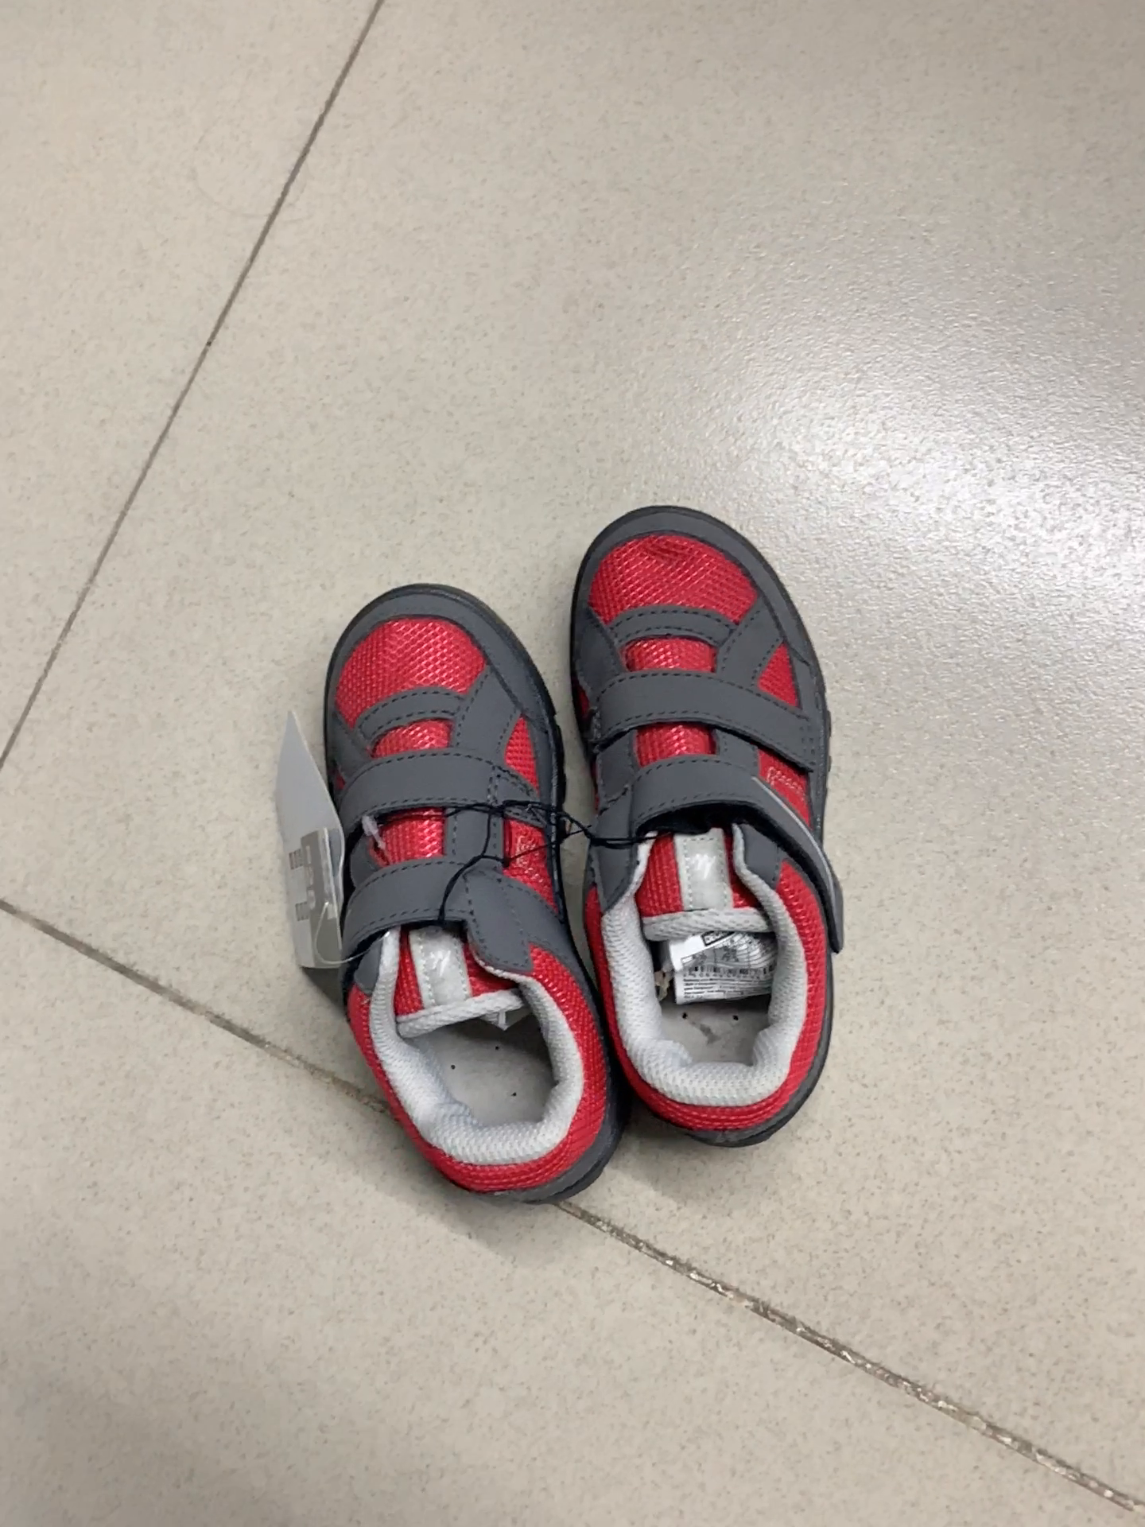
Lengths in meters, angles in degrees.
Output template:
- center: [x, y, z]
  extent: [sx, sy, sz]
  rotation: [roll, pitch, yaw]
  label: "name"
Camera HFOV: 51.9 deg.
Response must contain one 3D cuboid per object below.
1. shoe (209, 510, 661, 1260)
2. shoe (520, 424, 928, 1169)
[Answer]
- center: [-0.036, 0.034, 0.344]
  extent: [0.080, 0.080, 0.180]
  rotation: [-14, 81, 6]
  label: "shoe"
- center: [0.042, 0.011, 0.353]
  extent: [0.080, 0.080, 0.190]
  rotation: [-9, 81, 6]
  label: "shoe"
